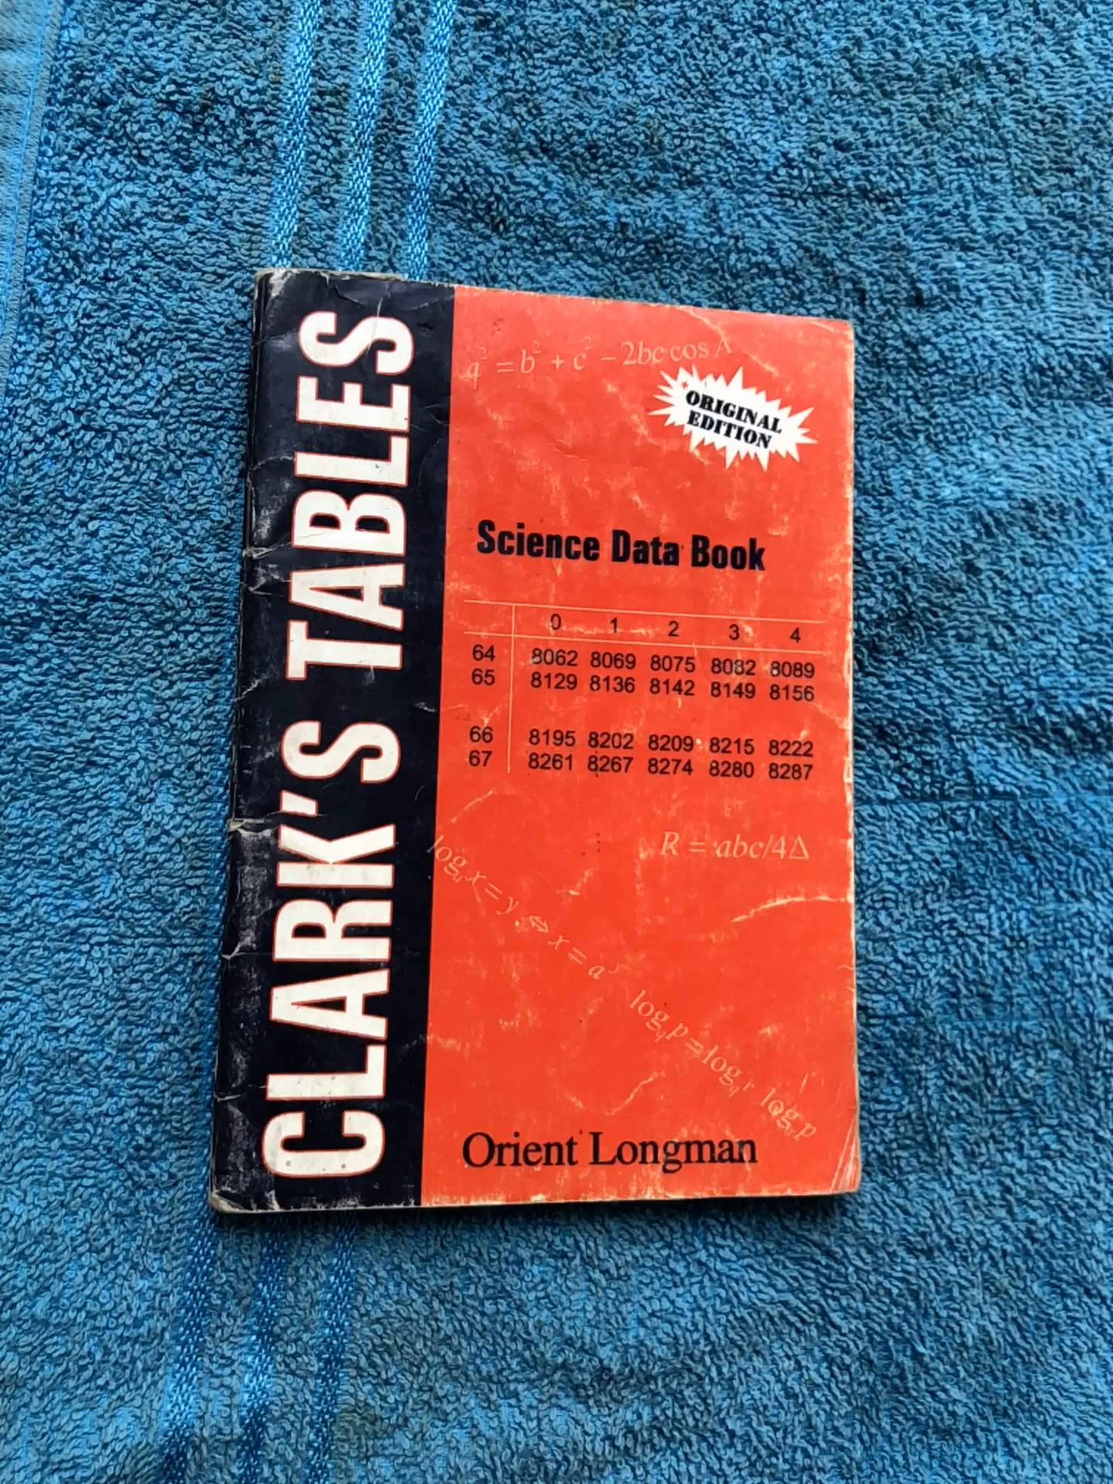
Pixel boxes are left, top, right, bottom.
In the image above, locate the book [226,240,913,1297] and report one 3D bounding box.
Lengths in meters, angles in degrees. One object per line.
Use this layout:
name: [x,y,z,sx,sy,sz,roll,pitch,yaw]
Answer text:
book: [0.004,0.004,0.238,0.120,0.030,0.180,2,84,-11]
